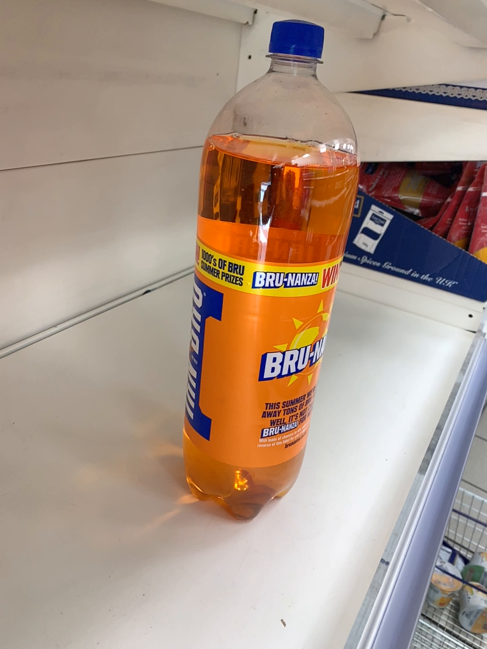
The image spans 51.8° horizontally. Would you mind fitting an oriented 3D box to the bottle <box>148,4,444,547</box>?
[{"bbox_3d":[0.016,-0.023,0.352,0.111,0.327,0.111,6,27,-3],"label":"bottle"}]
